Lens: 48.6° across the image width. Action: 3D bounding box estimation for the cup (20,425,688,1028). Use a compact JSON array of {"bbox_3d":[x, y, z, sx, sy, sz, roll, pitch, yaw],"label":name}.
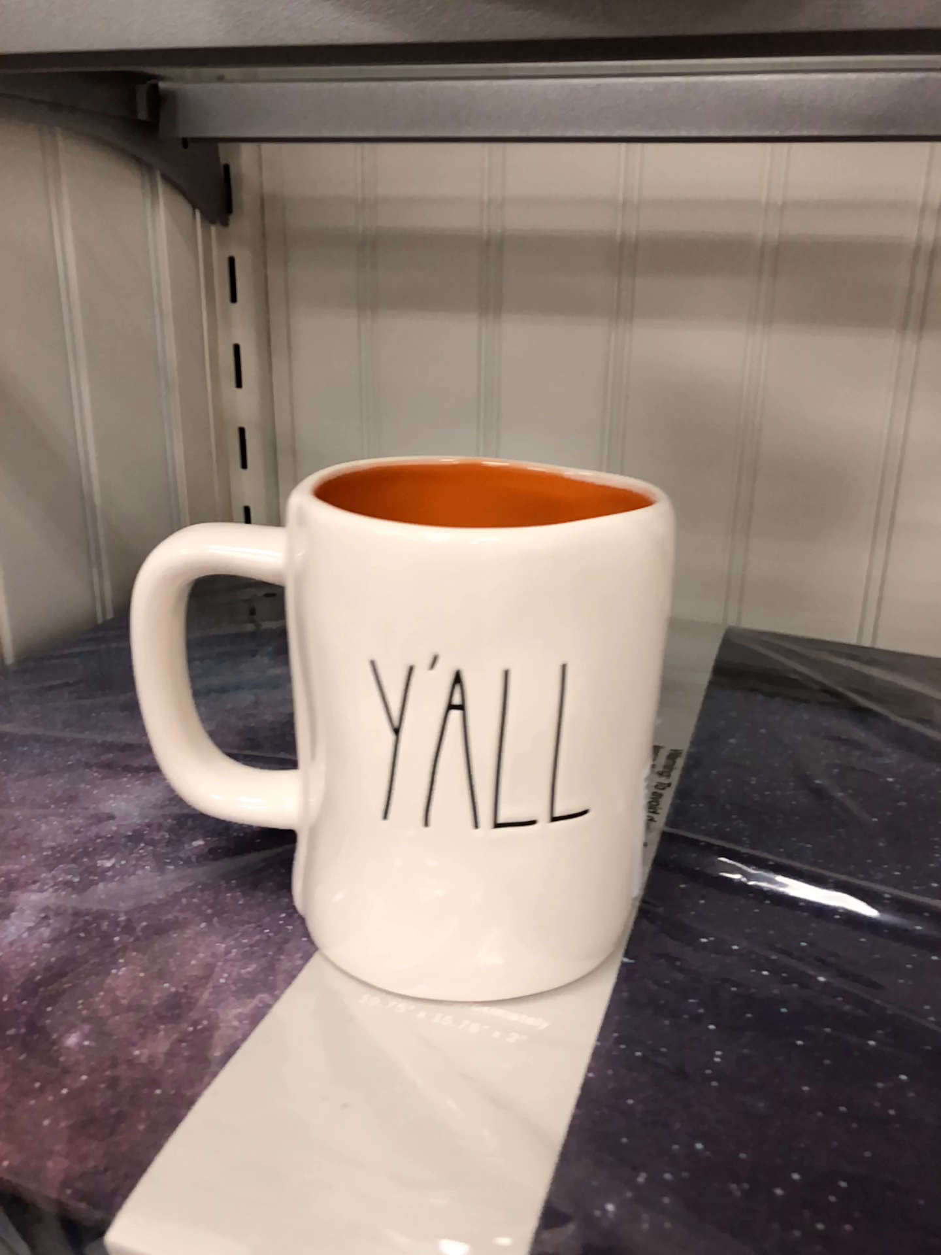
[{"bbox_3d":[-0.021,0.017,0.275,0.140,0.119,0.091,4,20,8],"label":"cup"}]
